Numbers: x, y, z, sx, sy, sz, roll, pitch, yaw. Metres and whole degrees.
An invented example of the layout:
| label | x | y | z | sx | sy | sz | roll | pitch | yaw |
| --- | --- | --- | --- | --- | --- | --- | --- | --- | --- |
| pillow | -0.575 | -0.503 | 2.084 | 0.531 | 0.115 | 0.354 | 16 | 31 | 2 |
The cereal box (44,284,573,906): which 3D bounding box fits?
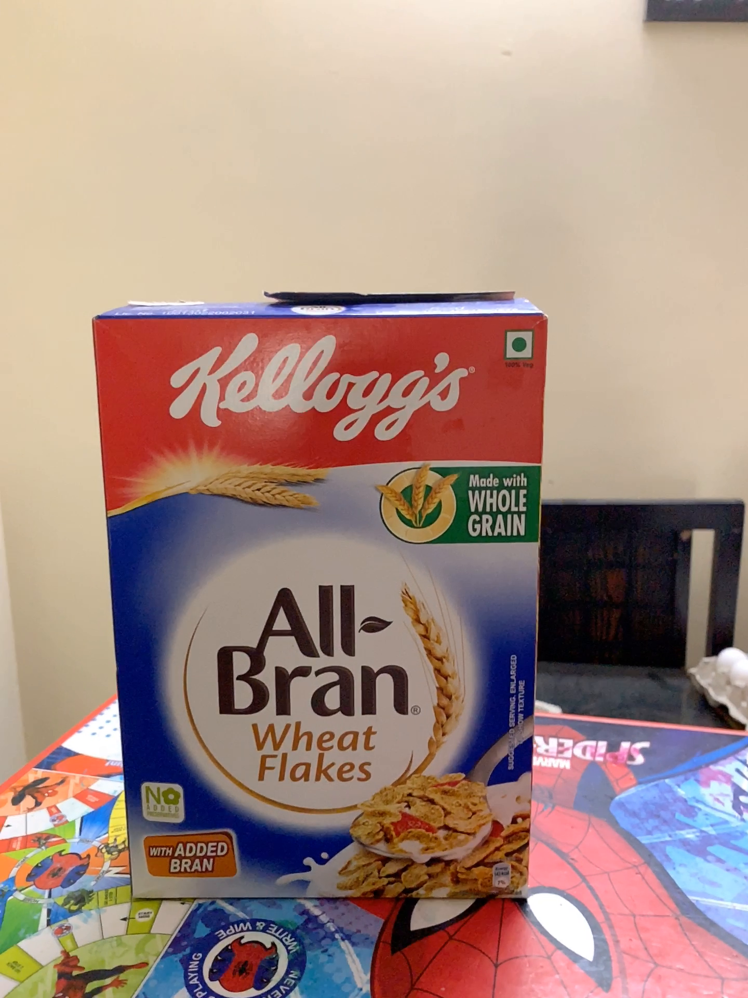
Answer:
| label | x | y | z | sx | sy | sz | roll | pitch | yaw |
| --- | --- | --- | --- | --- | --- | --- | --- | --- | --- |
| cereal box | -0.022 | 0.041 | 0.331 | 0.190 | 0.249 | 0.060 | -1 | 11 | 1 |
